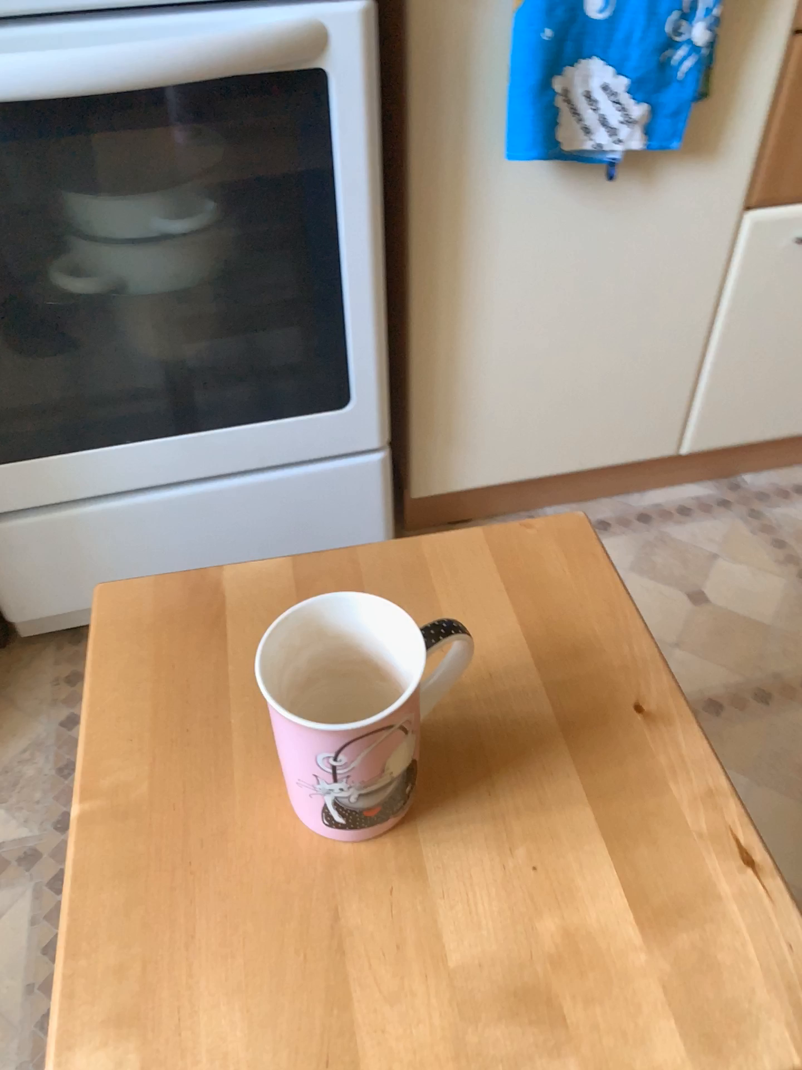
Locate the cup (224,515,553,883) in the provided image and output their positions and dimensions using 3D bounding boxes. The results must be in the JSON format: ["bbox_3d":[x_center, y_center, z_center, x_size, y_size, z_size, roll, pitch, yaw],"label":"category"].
[{"bbox_3d":[-0.004,0.074,0.392,0.120,0.099,0.080,-31,51,-28],"label":"cup"}]
